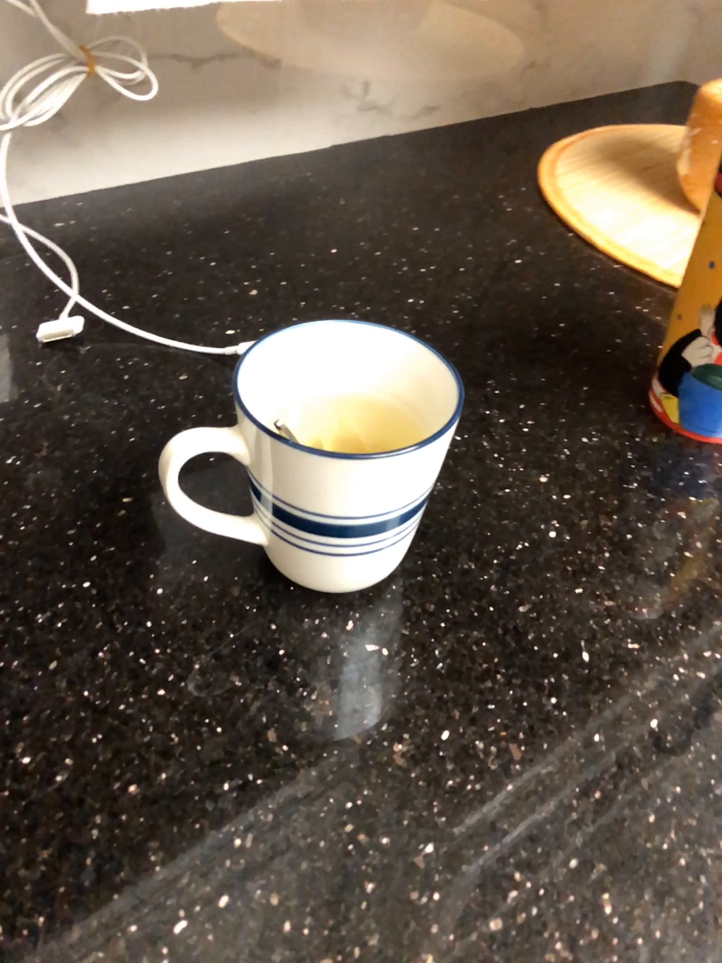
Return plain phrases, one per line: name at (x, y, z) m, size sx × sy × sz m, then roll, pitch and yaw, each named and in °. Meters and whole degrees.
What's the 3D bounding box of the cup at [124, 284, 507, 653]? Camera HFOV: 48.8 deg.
cup at (-0.024, -0.008, 0.323) m, size 0.120 × 0.099 × 0.090 m, roll -9°, pitch 45°, yaw -16°
